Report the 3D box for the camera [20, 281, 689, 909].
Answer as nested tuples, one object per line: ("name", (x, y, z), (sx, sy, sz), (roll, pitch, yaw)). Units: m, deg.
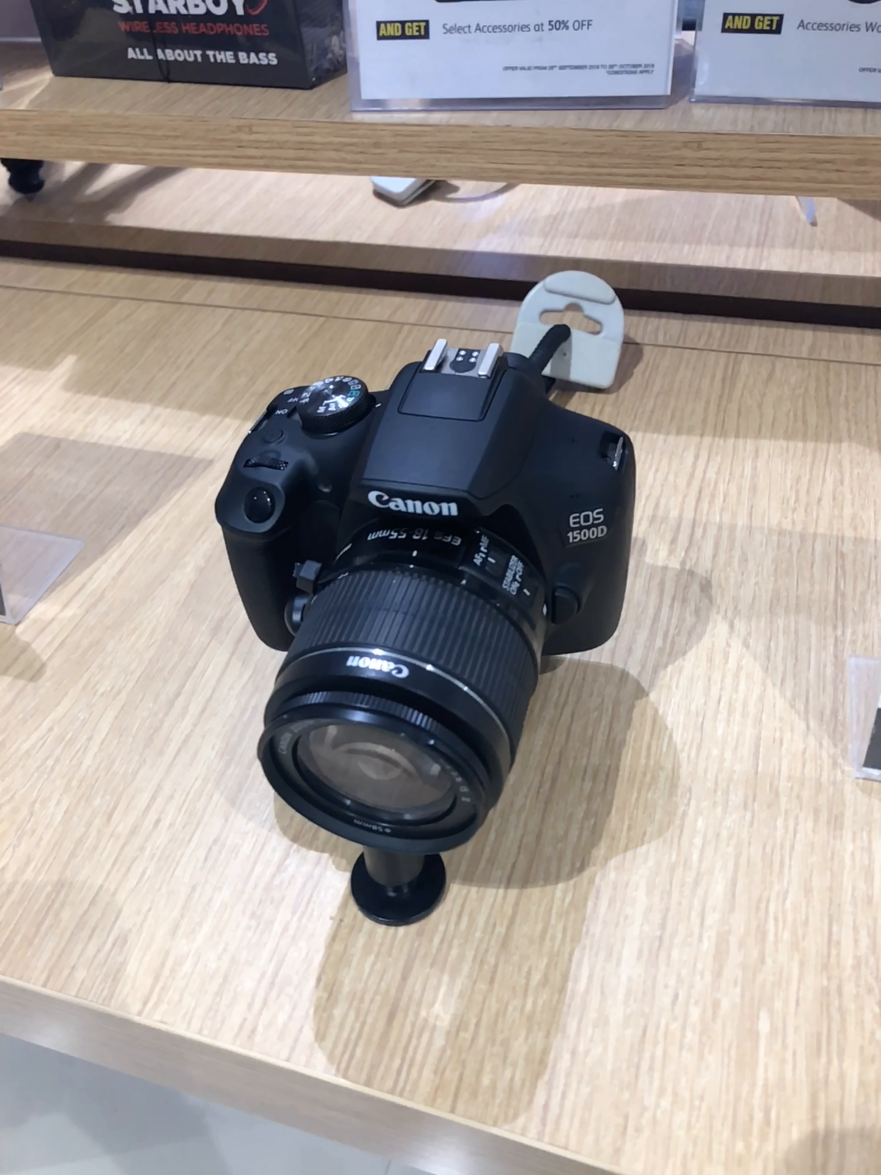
("camera", (-0.008, -0.009, 0.281), (0.130, 0.089, 0.141), (9, 45, 16))
